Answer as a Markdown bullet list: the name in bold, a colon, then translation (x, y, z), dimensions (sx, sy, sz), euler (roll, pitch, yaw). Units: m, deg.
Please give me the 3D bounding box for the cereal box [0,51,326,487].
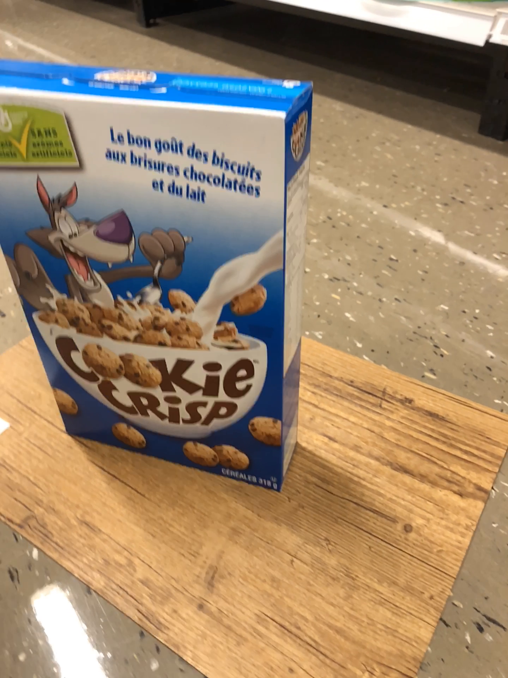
- **cereal box**: translation (-0.064, -0.032, 0.377), dimensions (0.200, 0.269, 0.060), euler (11, 42, 15)
